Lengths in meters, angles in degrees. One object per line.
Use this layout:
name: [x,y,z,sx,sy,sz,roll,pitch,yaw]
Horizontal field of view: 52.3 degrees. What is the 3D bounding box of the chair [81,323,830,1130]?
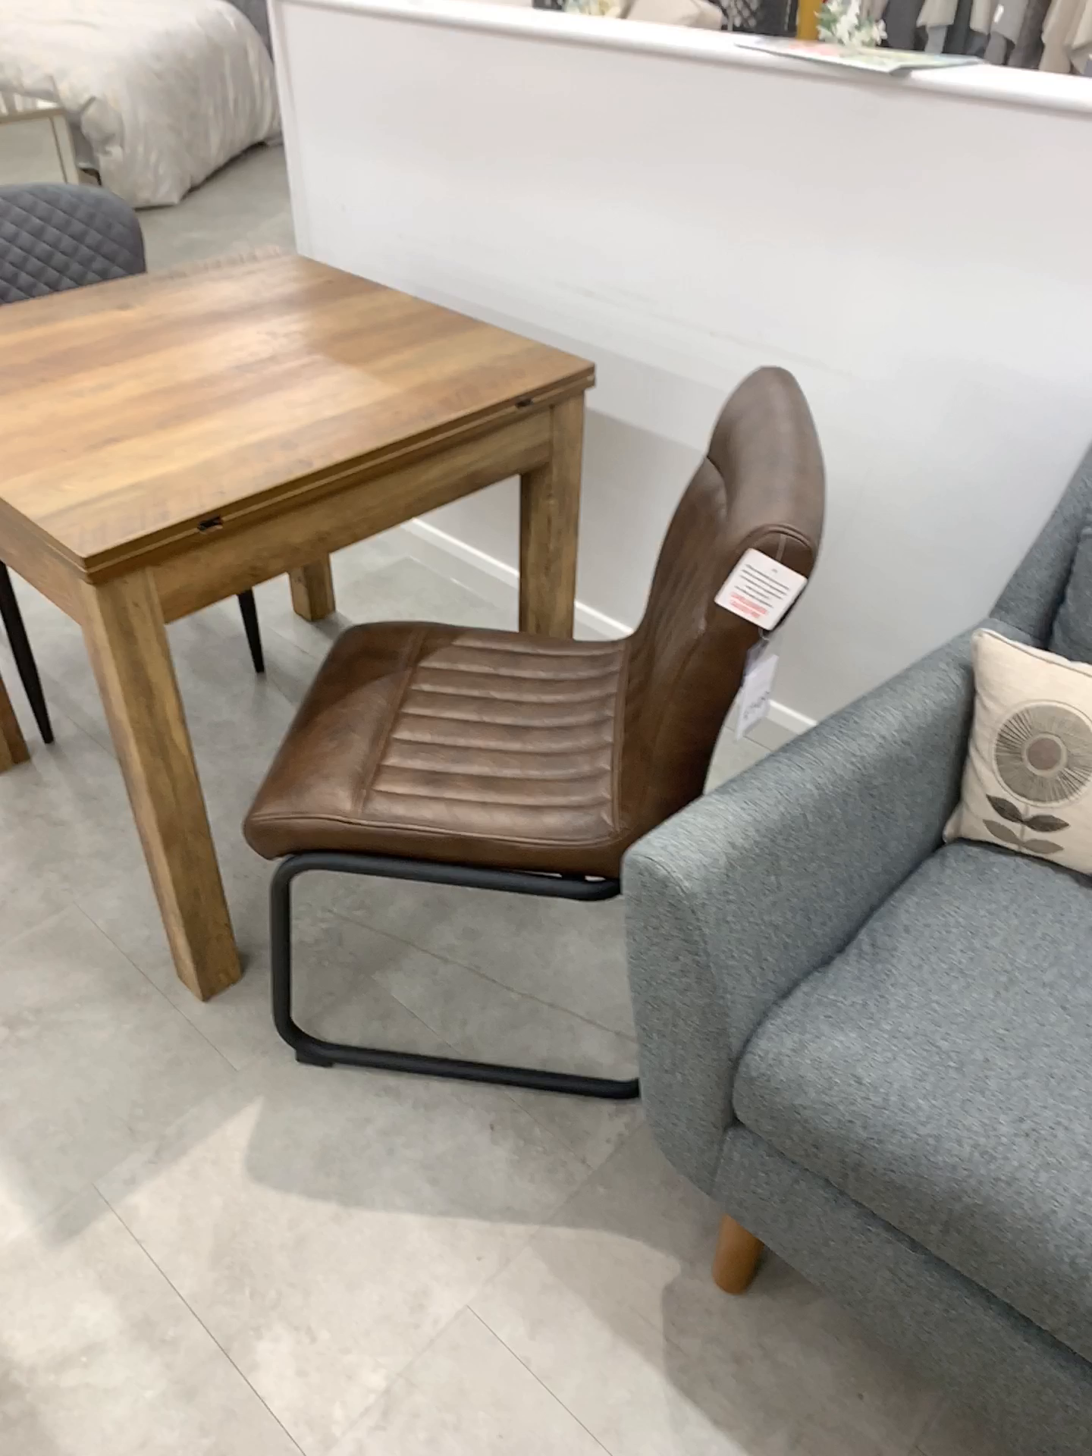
chair: [-0.055,0.001,1.352,0.632,0.773,0.502,6,38,6]
